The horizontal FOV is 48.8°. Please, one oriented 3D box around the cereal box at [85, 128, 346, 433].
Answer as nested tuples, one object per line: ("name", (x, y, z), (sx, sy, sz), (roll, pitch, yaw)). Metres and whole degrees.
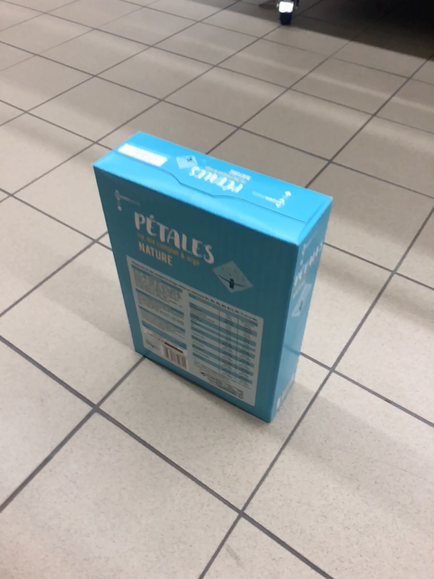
("cereal box", (-0.005, 0.004, 0.477), (0.200, 0.268, 0.070), (24, 52, 21))
